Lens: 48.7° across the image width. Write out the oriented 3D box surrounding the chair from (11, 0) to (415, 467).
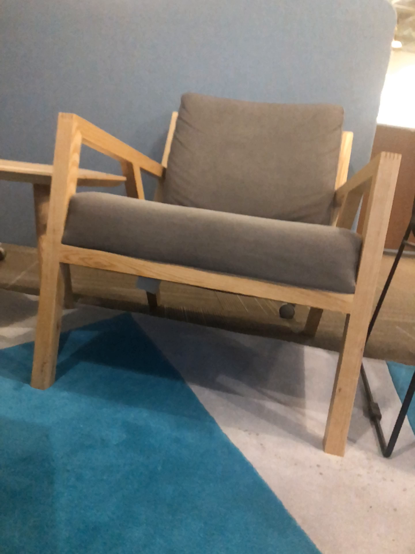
[{"bbox_3d":[0.071,-0.163,1.209,0.710,0.747,0.844,9,13,9],"label":"chair"}]
